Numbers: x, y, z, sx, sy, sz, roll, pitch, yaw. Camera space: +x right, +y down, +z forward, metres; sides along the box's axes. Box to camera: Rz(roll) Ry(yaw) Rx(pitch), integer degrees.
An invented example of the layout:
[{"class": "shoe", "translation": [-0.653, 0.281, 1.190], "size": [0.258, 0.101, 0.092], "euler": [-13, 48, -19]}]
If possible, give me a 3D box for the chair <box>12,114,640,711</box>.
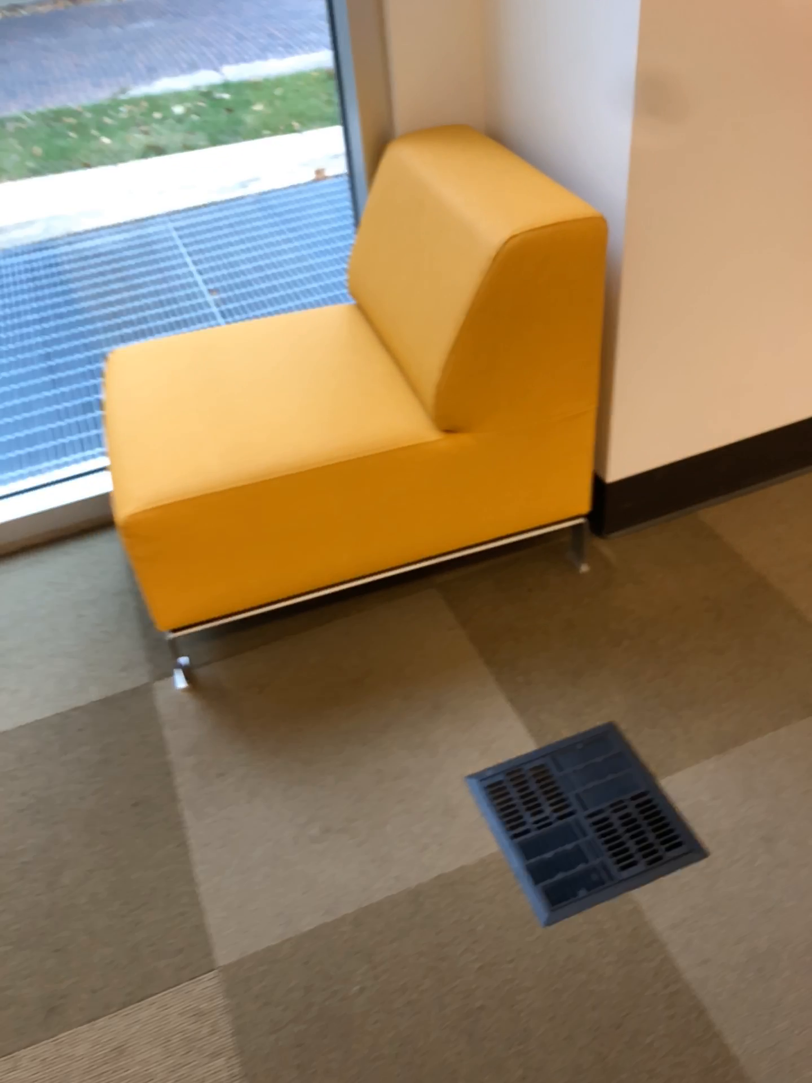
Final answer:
[{"class": "chair", "translation": [-0.154, -0.291, 1.794], "size": [0.946, 0.751, 0.674], "euler": [-16, 40, -10]}]
